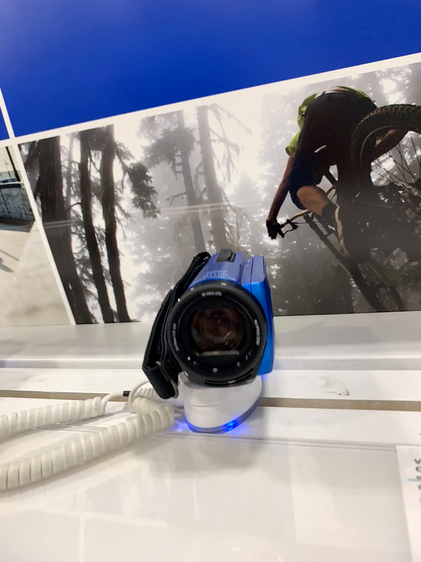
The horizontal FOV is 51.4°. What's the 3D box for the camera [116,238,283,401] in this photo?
[{"bbox_3d":[0.003,0.013,0.274,0.072,0.058,0.143,-5,11,7],"label":"camera"}]
